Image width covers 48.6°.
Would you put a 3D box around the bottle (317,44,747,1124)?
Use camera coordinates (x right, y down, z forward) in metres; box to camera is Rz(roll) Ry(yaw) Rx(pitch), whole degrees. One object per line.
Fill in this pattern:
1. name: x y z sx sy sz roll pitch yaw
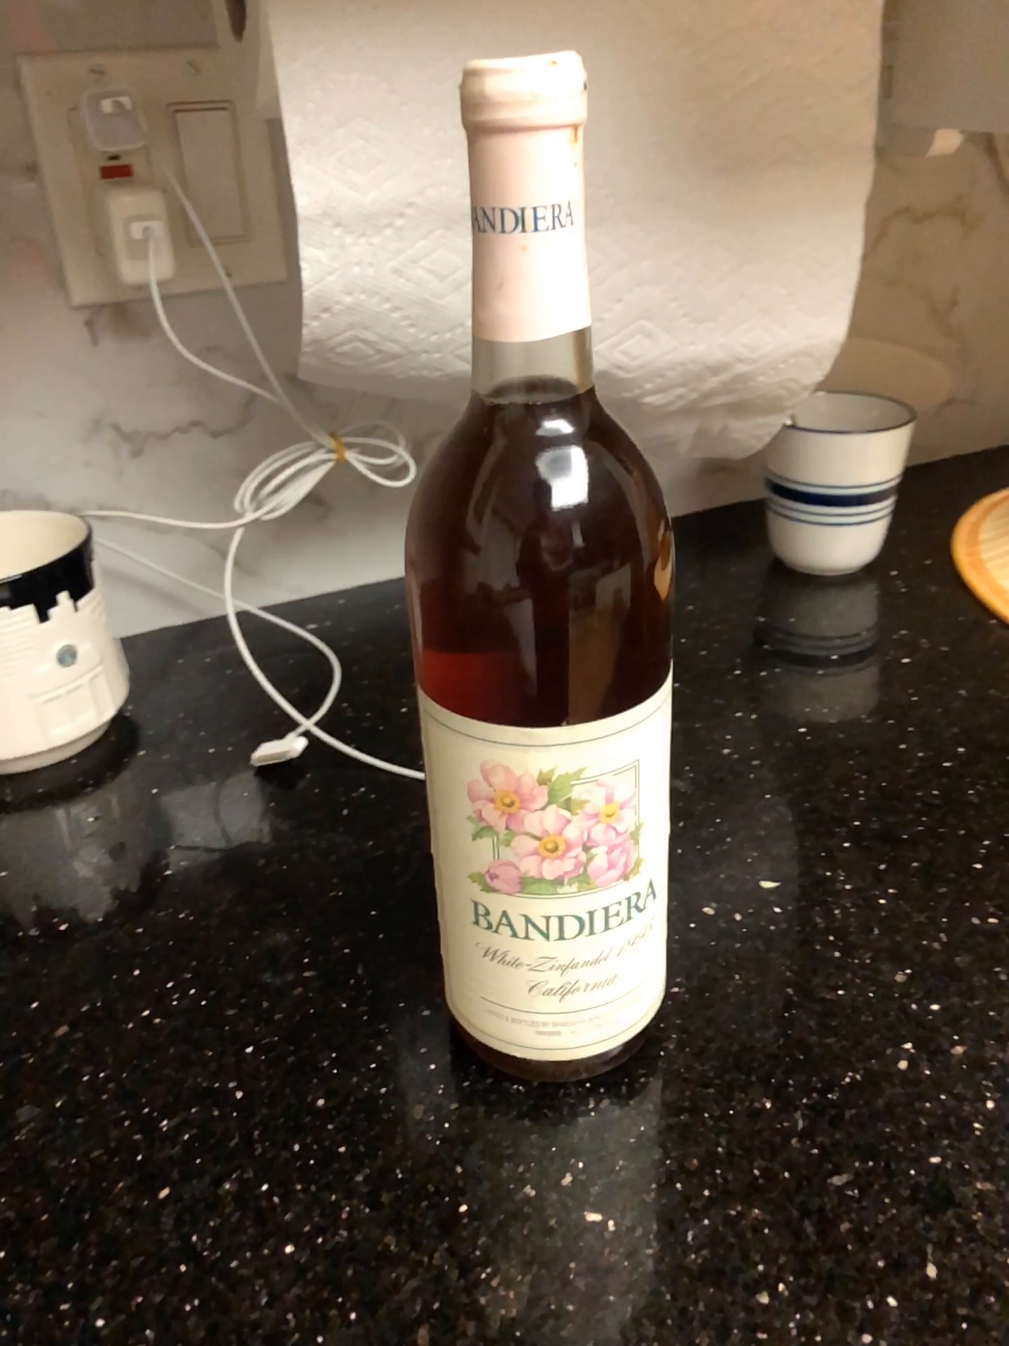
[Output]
1. bottle: 0.008 -0.010 0.307 0.080 0.278 0.080 -2 28 1
